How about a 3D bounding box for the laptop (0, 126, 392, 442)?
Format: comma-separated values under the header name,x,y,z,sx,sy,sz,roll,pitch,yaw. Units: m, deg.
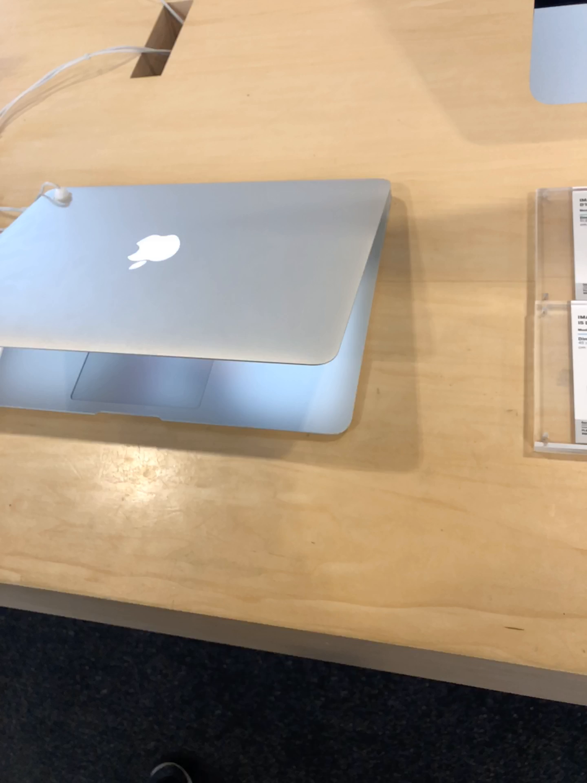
name,x,y,z,sx,sy,sz,roll,pitch,yaw
laptop,-0.101,-0.088,0.482,0.315,0.067,0.215,4,60,18
